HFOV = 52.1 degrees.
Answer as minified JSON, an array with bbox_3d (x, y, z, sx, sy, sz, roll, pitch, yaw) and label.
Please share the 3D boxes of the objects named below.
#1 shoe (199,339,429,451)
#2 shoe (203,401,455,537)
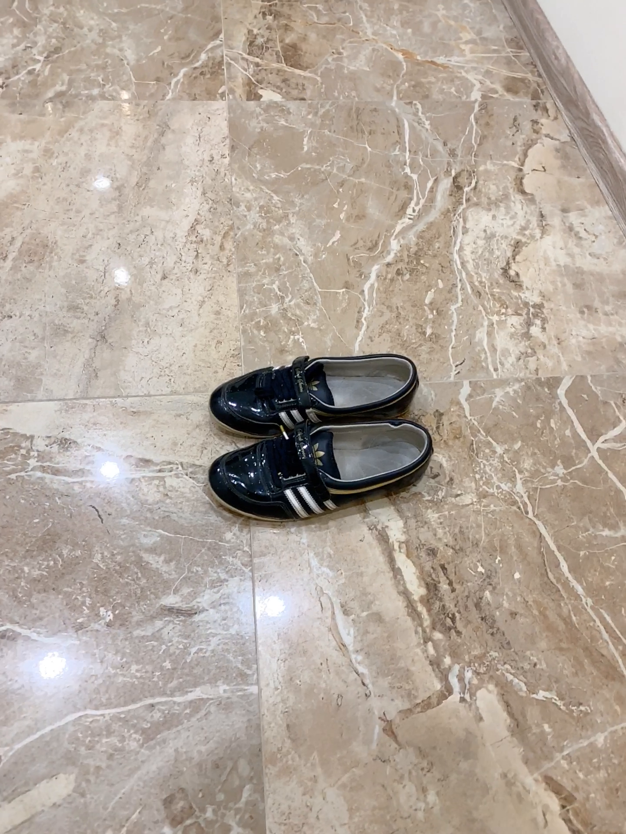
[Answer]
[{"bbox_3d":[-0.003,-0.026,0.717,0.240,0.060,0.096,-3,57,-6],"label":"shoe"},{"bbox_3d":[0.013,0.052,0.665,0.240,0.060,0.096,-6,58,-8],"label":"shoe"}]
